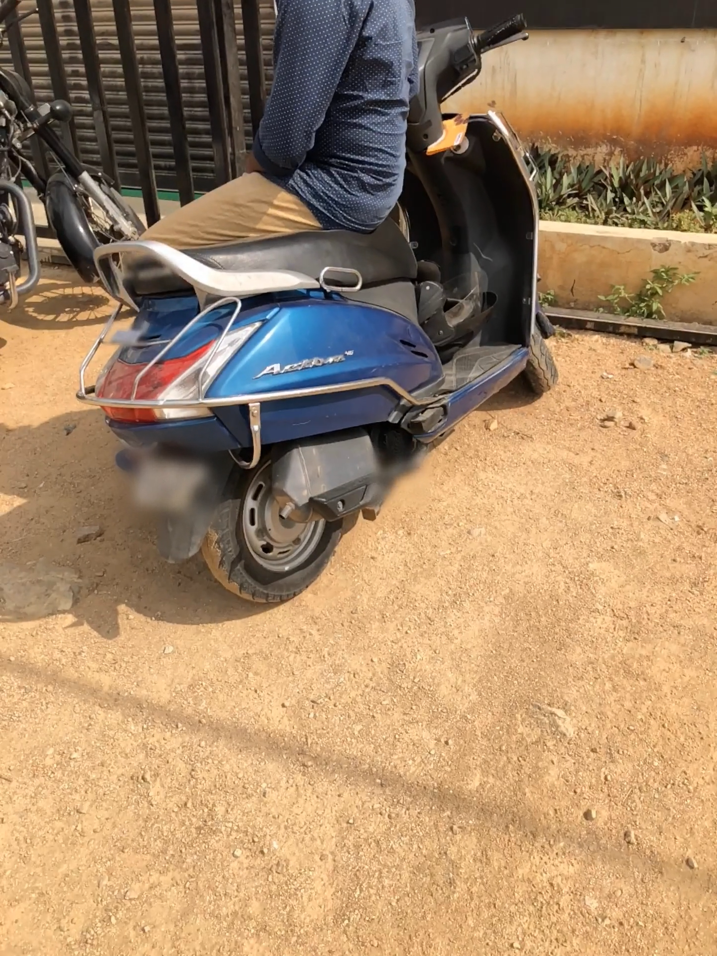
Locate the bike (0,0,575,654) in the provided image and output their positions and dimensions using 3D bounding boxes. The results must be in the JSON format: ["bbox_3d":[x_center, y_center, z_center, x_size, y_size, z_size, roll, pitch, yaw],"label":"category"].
[{"bbox_3d":[-0.039,-0.591,2.043,0.622,1.115,1.558,16,36,27],"label":"bike"}]
